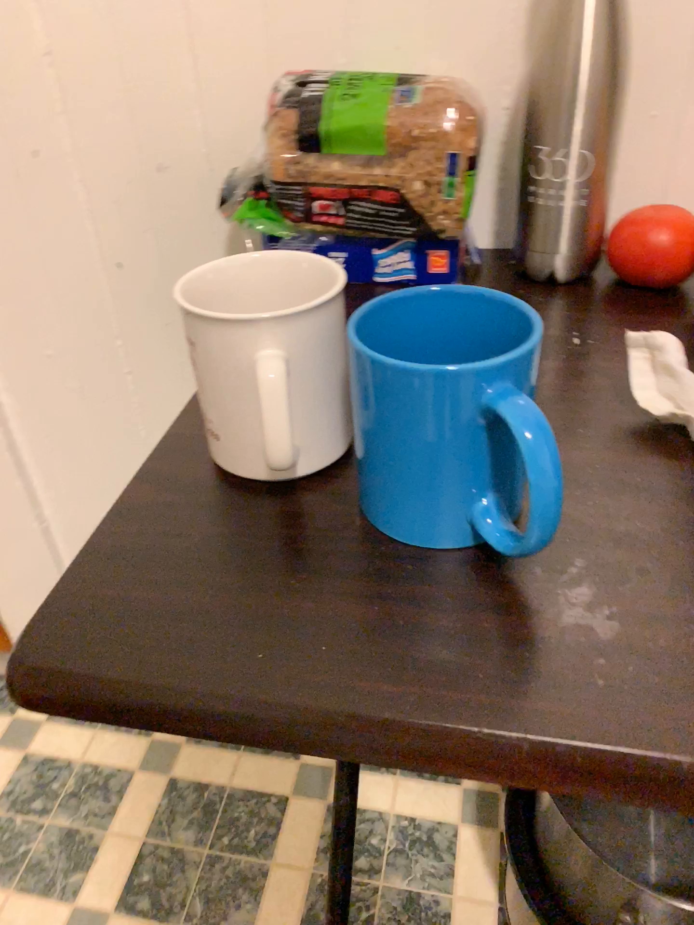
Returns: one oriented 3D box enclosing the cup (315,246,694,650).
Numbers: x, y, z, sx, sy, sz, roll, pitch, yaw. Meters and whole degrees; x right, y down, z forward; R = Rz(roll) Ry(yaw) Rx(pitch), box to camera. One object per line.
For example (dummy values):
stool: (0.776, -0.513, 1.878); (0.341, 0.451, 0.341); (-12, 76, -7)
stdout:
cup: (0.055, -0.017, 0.313); (0.090, 0.099, 0.141); (-15, 37, -15)

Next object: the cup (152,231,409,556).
cup: (-0.036, -0.043, 0.365); (0.090, 0.099, 0.131); (-14, 37, -14)
